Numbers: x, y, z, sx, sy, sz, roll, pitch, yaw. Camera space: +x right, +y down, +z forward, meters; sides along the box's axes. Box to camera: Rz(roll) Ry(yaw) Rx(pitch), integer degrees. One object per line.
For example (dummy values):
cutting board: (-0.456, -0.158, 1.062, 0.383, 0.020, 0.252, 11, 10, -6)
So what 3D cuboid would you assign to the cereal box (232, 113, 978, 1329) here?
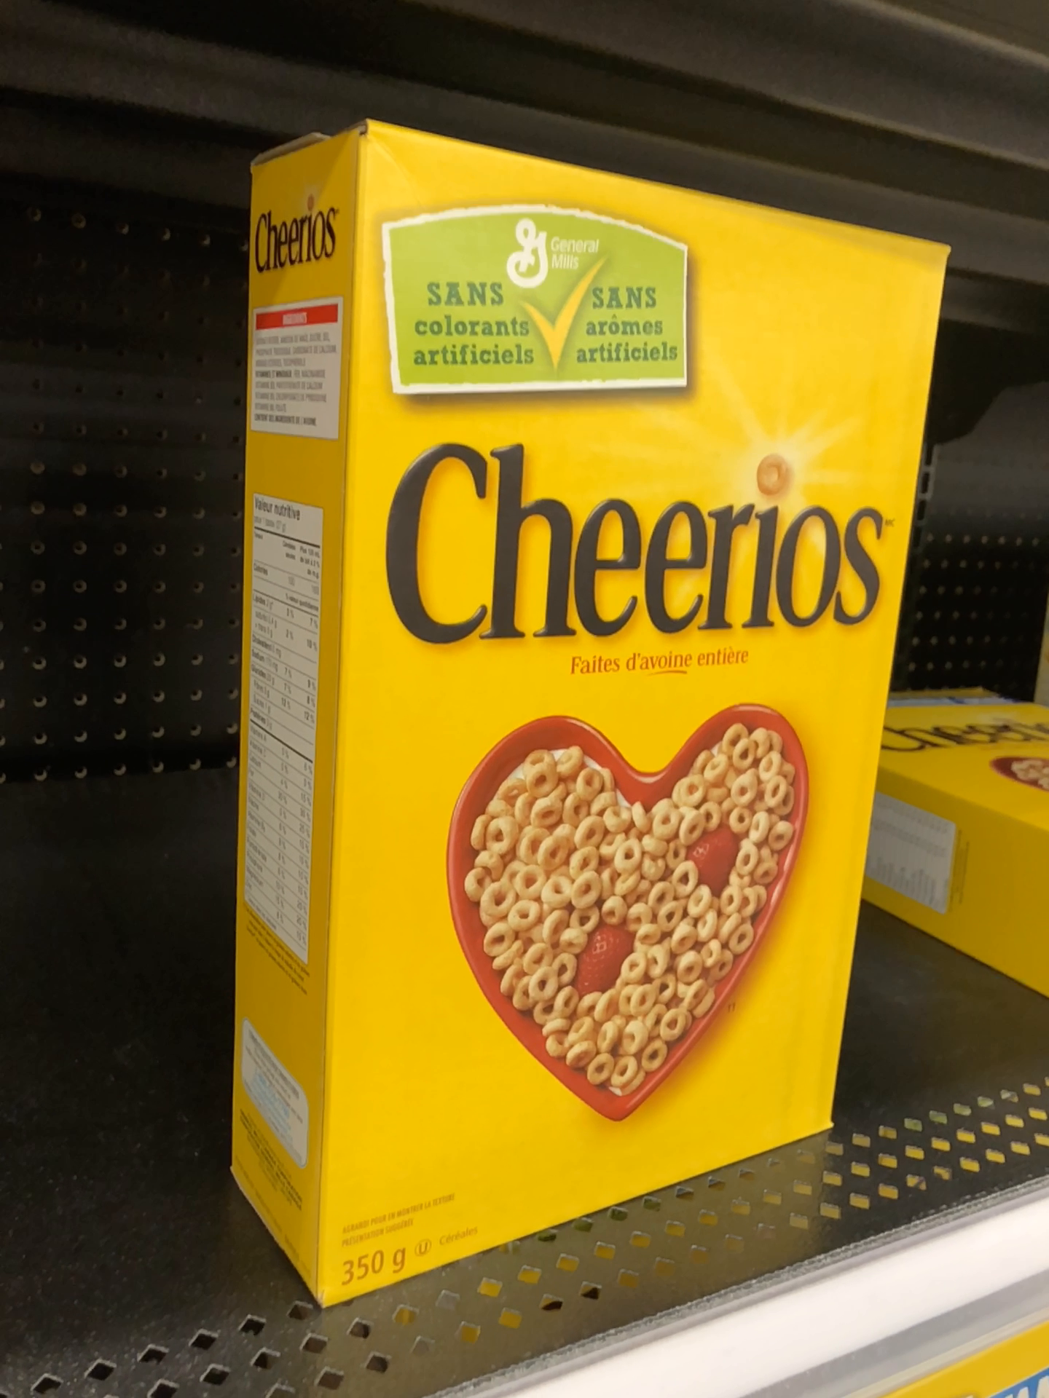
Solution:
cereal box: (0.024, 0.006, 0.377, 0.210, 0.309, 0.080, -4, 14, -32)
